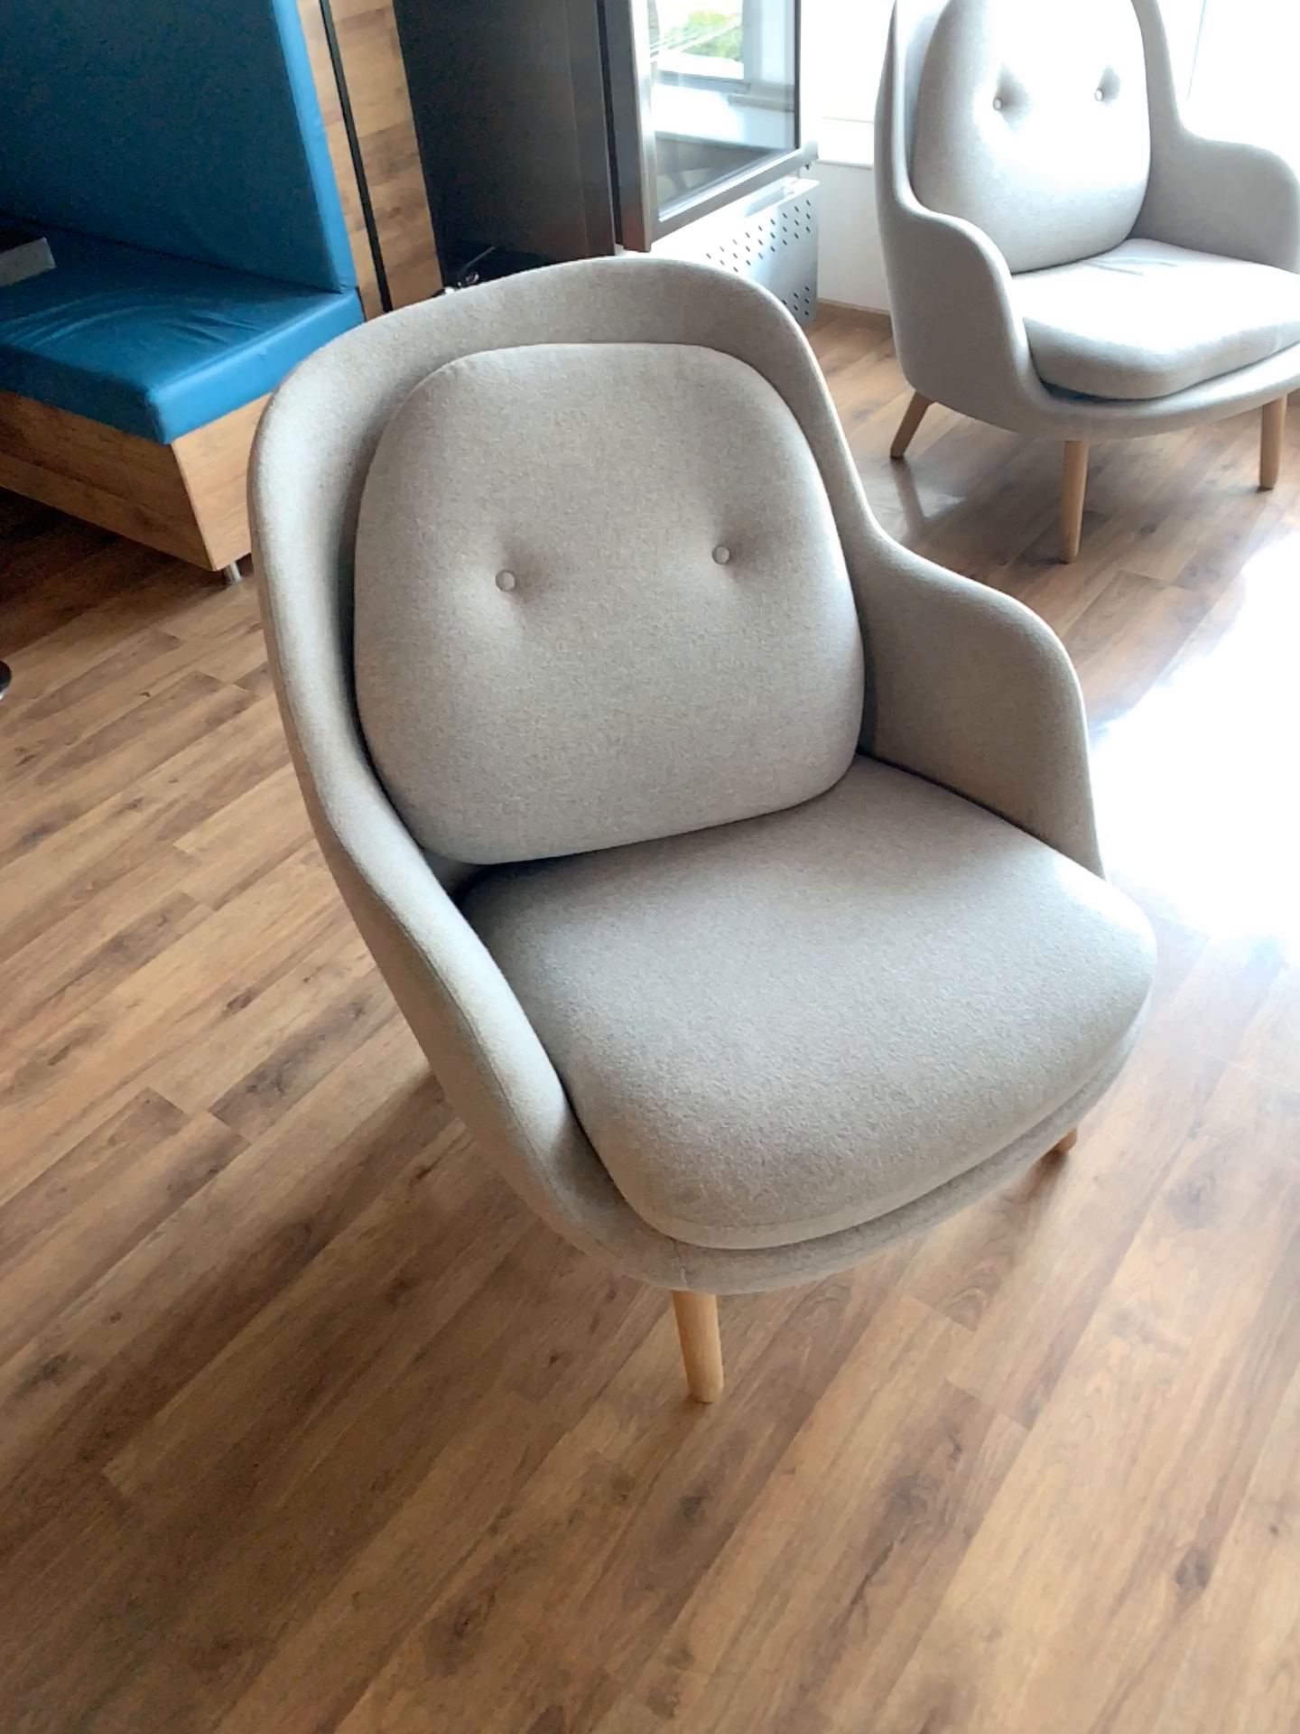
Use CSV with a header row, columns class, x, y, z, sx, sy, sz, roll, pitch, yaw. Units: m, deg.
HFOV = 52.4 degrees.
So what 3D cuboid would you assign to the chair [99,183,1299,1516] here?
class,x,y,z,sx,sy,sz,roll,pitch,yaw
chair,0.091,-0.074,1.317,0.752,0.833,0.744,-30,47,-25
